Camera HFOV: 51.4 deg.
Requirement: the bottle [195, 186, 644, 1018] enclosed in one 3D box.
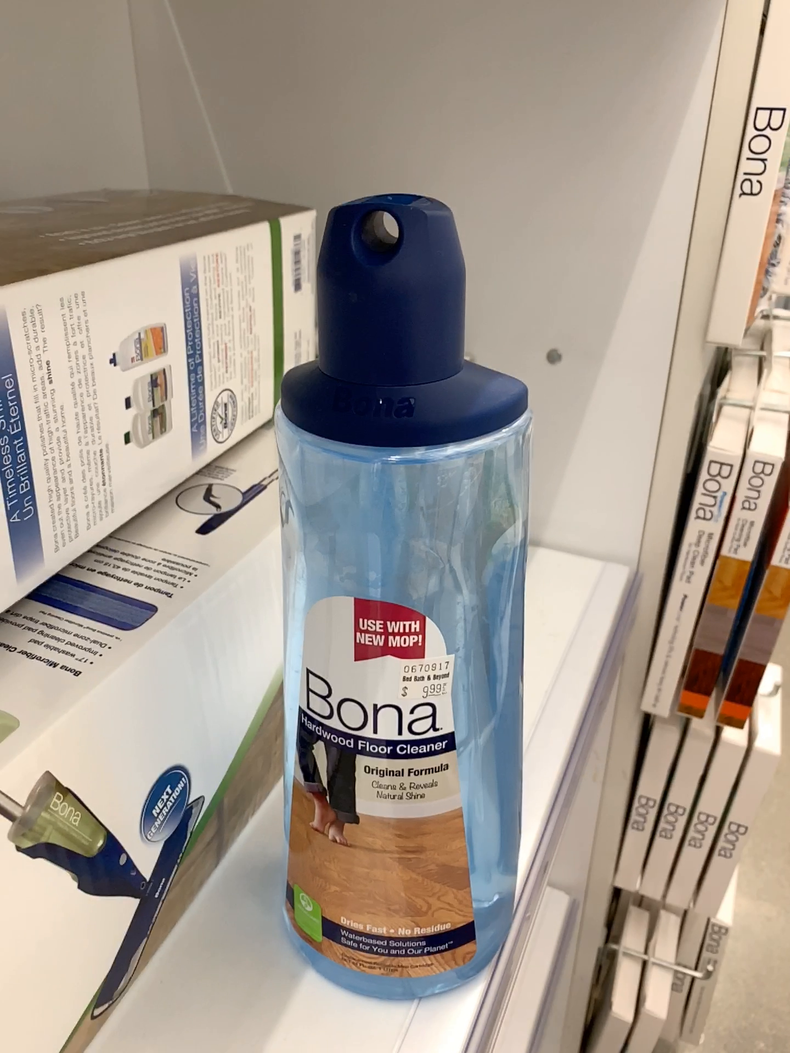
[{"bbox_3d":[0.009,0.039,0.282,0.100,0.279,0.080,4,29,7],"label":"bottle"}]
